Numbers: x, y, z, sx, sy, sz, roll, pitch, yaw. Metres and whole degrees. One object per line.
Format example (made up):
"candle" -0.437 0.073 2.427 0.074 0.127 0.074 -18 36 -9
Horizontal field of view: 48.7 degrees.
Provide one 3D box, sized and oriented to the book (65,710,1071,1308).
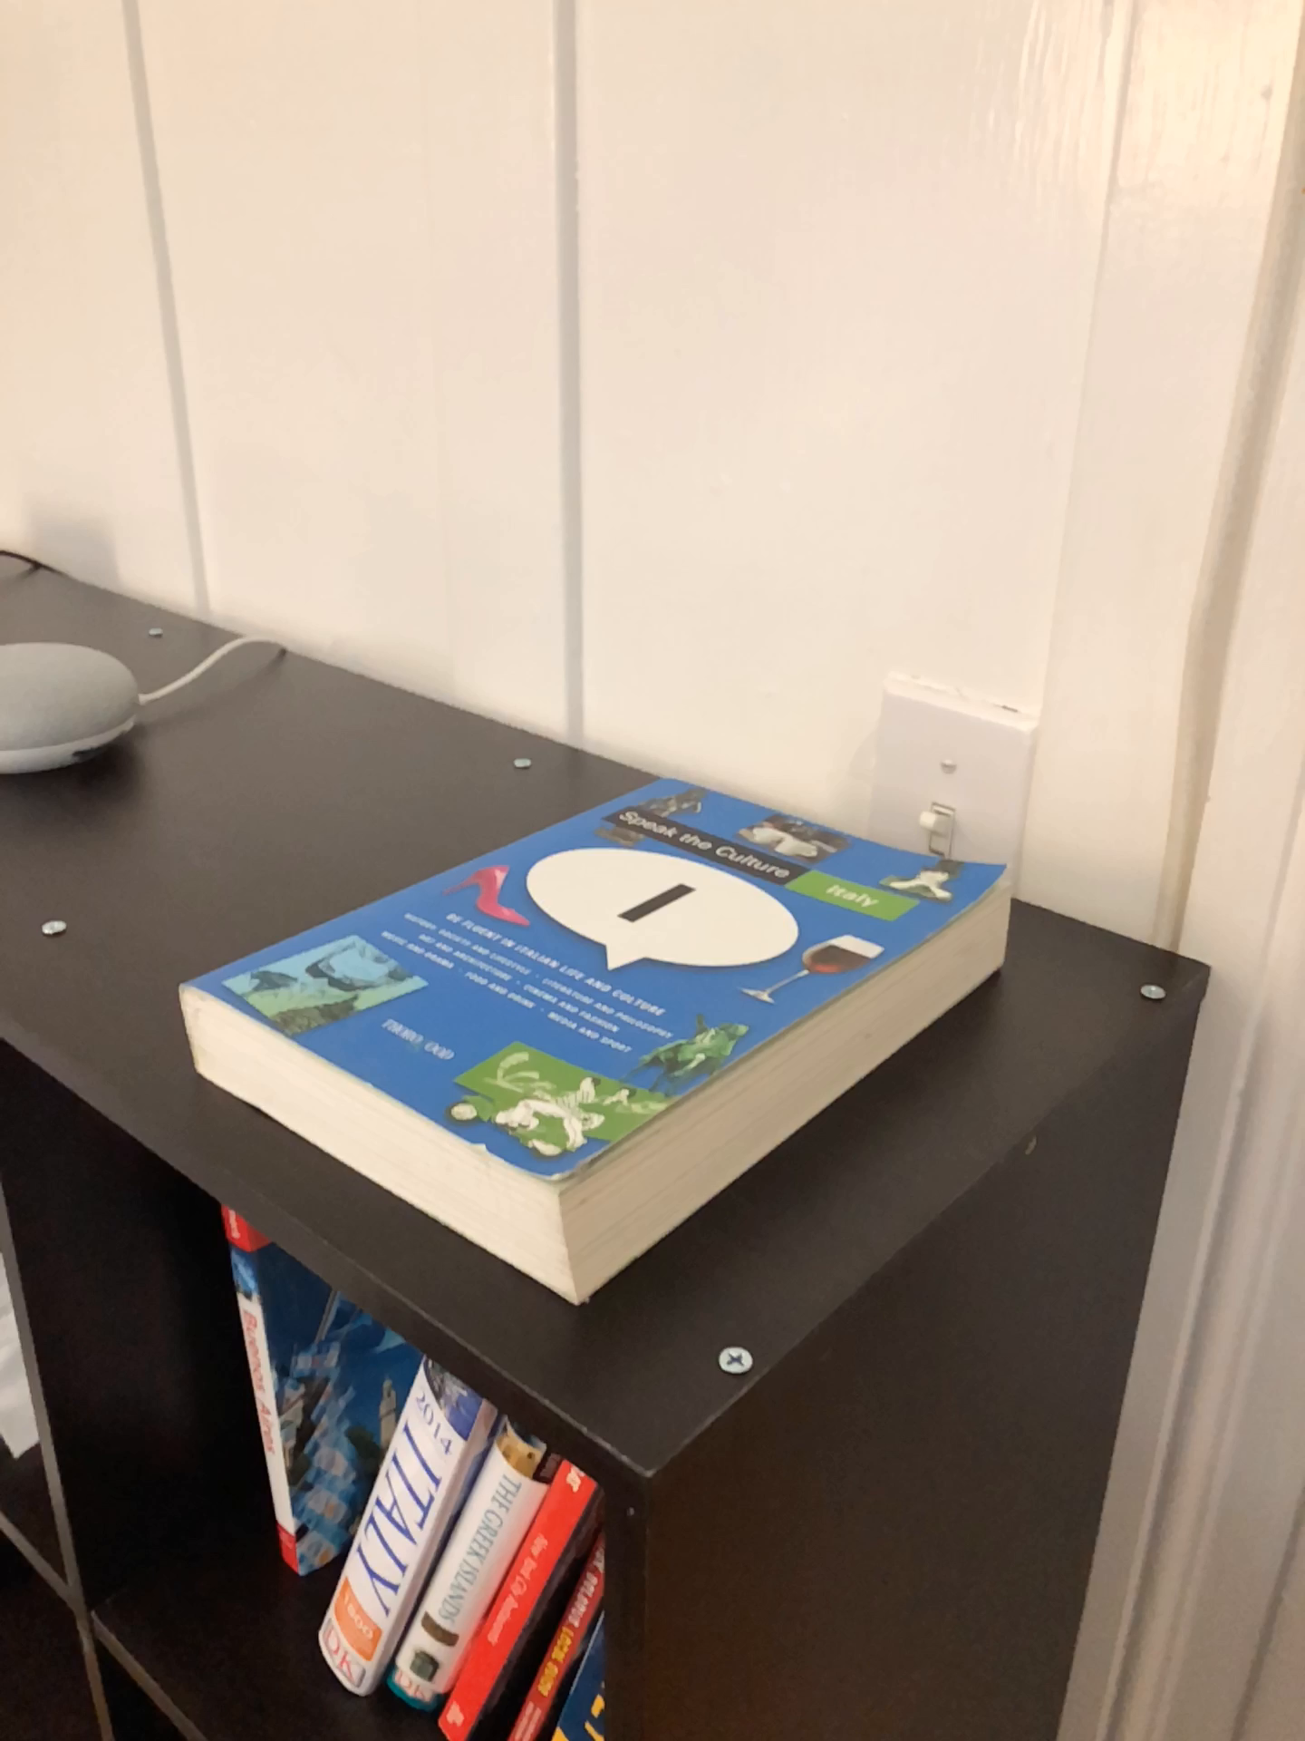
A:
"book" -0.015 0.016 0.470 0.200 0.030 0.261 20 31 35
